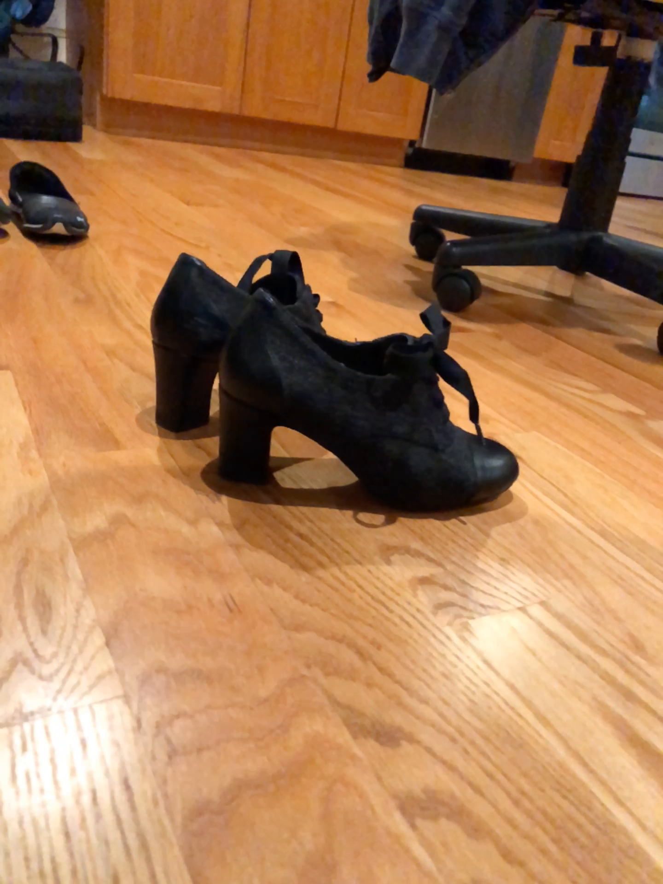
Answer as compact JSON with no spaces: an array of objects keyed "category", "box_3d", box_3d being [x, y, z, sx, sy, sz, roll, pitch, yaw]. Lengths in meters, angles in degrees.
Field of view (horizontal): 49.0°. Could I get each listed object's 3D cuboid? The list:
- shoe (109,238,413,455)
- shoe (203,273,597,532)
[{"category":"shoe","box_3d":[-0.051,-0.087,0.580,0.223,0.125,0.088,-16,35,-43]},{"category":"shoe","box_3d":[0.033,-0.025,0.480,0.223,0.125,0.094,4,26,-12]}]
